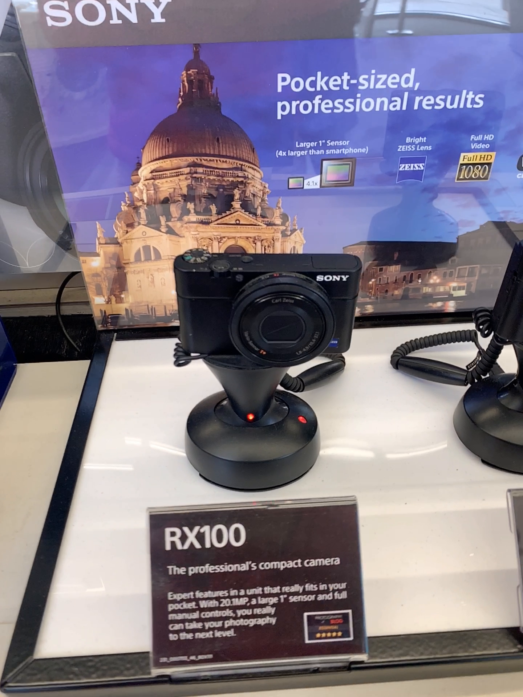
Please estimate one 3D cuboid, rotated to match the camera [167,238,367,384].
[{"bbox_3d":[0.003,-0.020,0.305,0.100,0.069,0.040,-2,39,-1],"label":"camera"}]
